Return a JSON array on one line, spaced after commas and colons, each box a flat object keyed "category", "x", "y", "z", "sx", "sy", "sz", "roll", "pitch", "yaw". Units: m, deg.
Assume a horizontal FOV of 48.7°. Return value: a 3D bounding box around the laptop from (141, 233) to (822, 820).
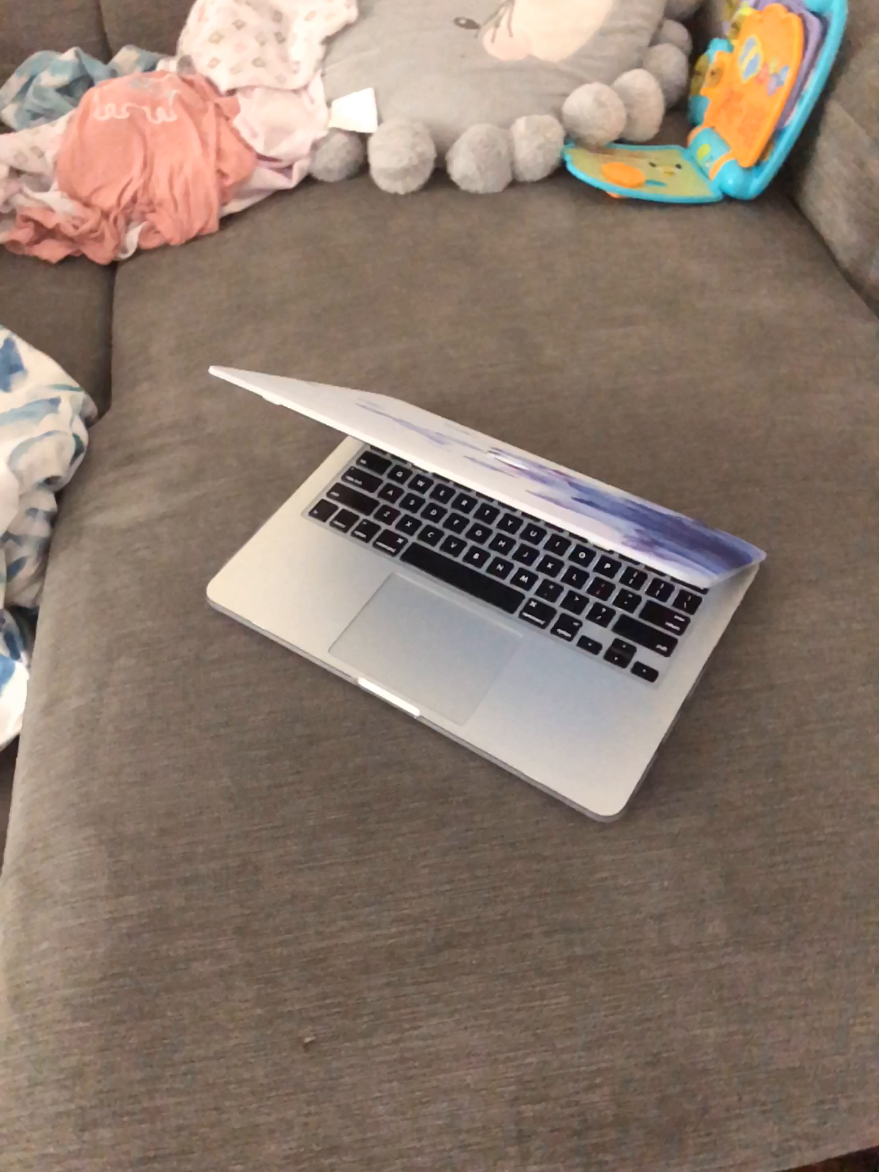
[{"category": "laptop", "x": 0.025, "y": -0.052, "z": 0.592, "sx": 0.309, "sy": 0.137, "sz": 0.218, "roll": 26, "pitch": 59, "yaw": 21}]
